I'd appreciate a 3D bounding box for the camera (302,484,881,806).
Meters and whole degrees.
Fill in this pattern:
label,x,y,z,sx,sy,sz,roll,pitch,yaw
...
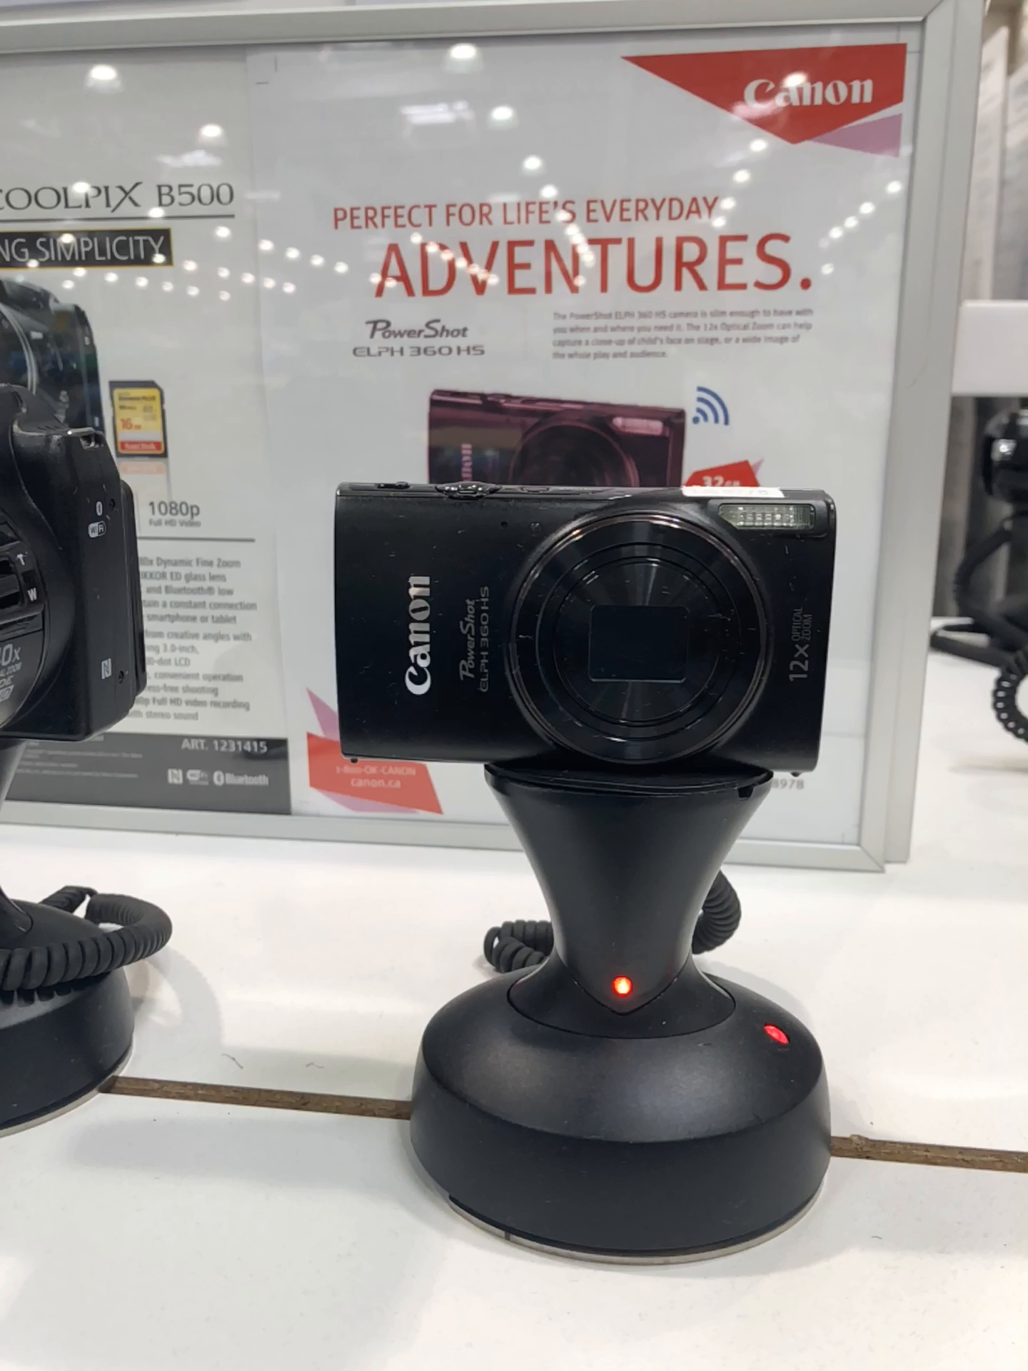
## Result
label,x,y,z,sx,sy,sz,roll,pitch,yaw
camera,0.016,-0.011,0.245,0.110,0.060,0.040,1,15,5
